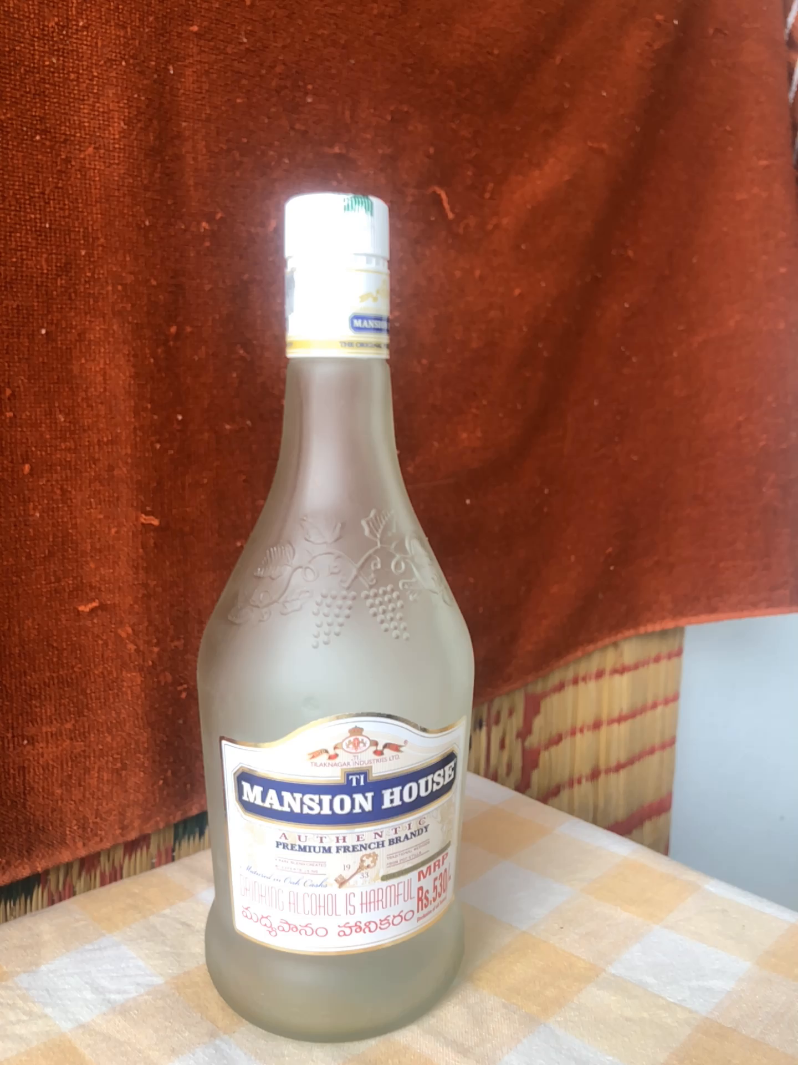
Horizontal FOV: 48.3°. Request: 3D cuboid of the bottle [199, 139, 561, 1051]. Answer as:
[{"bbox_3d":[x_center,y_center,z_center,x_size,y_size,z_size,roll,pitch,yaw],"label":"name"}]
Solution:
[{"bbox_3d":[-0.014,0.020,0.290,0.090,0.249,0.090,3,8,0],"label":"bottle"}]
